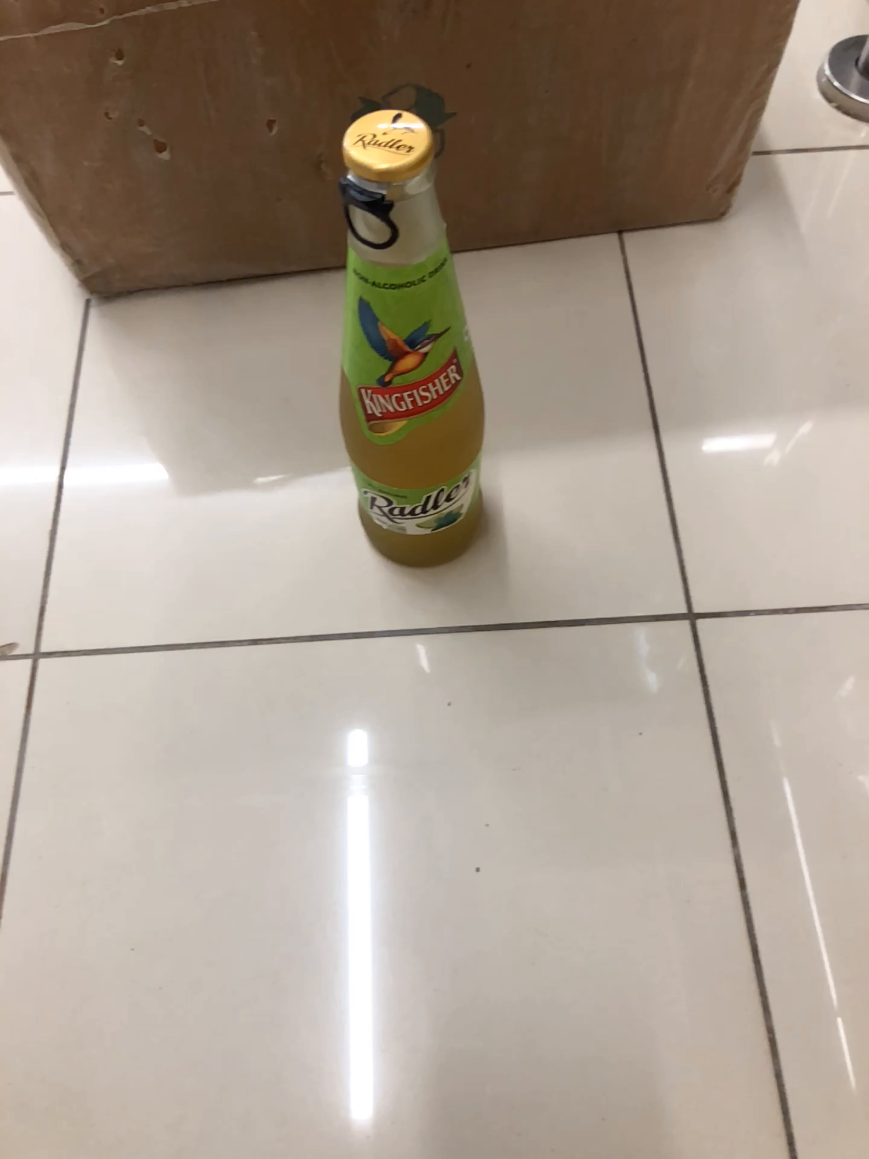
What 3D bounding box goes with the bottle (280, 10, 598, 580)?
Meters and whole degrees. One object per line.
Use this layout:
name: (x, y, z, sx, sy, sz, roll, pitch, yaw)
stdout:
bottle: (0.001, -0.084, 0.353, 0.080, 0.199, 0.080, -1, 63, 1)
